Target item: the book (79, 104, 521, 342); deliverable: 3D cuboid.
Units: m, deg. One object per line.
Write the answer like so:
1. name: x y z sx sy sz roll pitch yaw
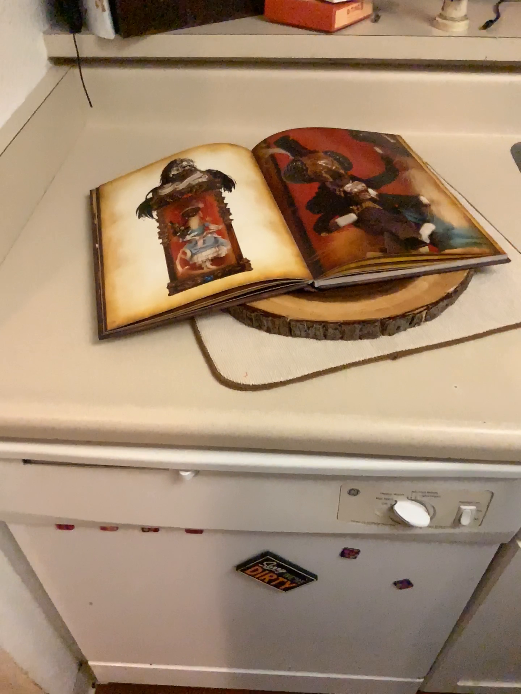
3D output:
1. book: 0.025 -0.181 0.712 0.470 0.040 0.340 -11 46 -8
